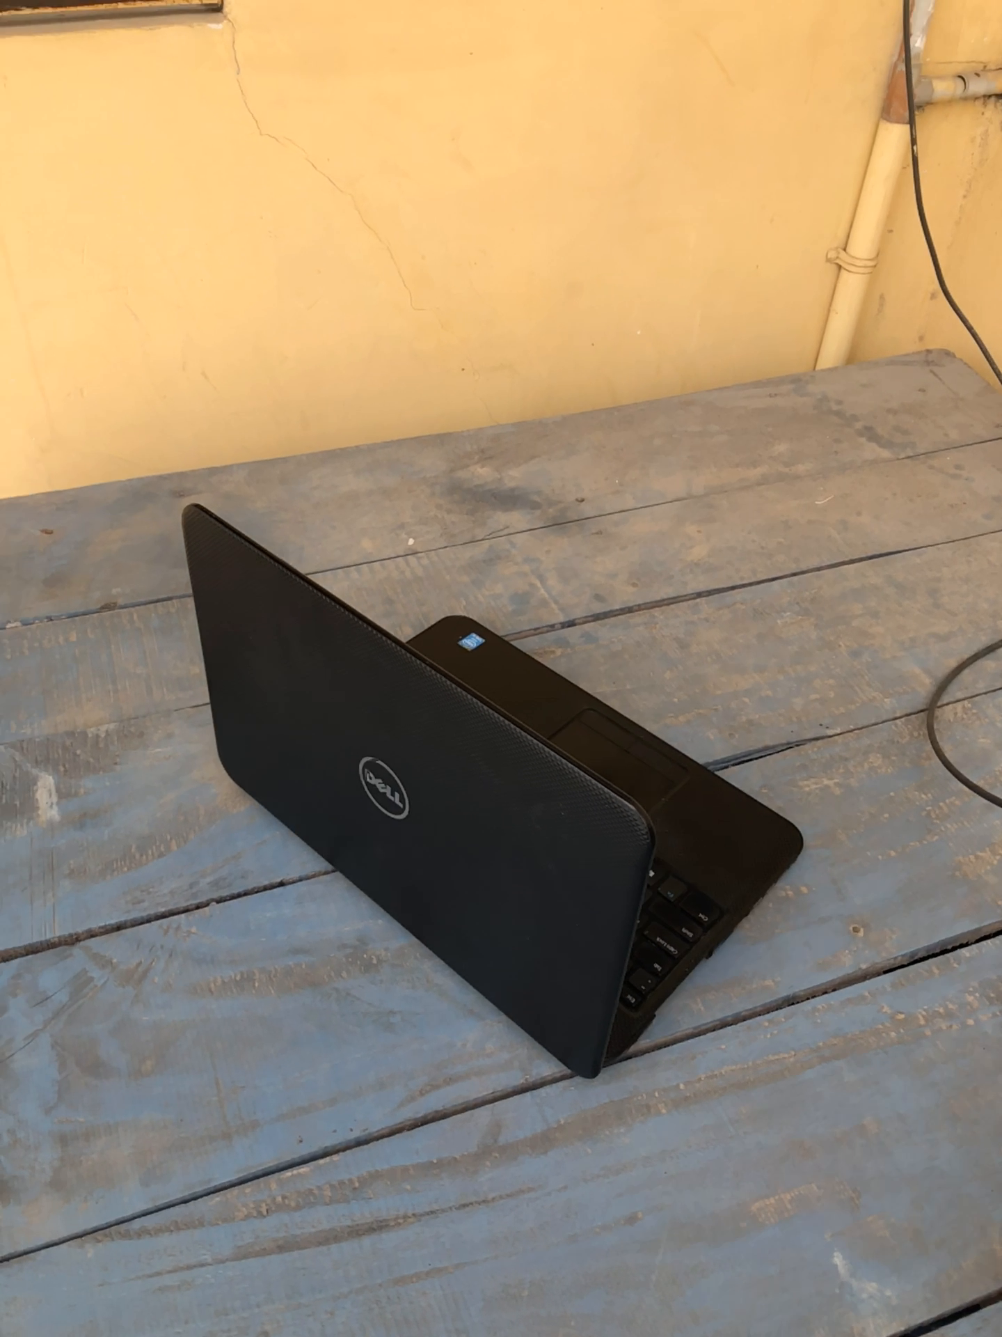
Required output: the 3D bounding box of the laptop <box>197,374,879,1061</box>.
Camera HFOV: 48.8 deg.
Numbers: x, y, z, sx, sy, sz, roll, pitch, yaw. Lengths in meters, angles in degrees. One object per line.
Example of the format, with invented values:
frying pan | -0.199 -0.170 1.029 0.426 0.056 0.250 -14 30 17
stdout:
laptop | 0.011 0.014 0.737 0.341 0.234 0.225 35 53 30
